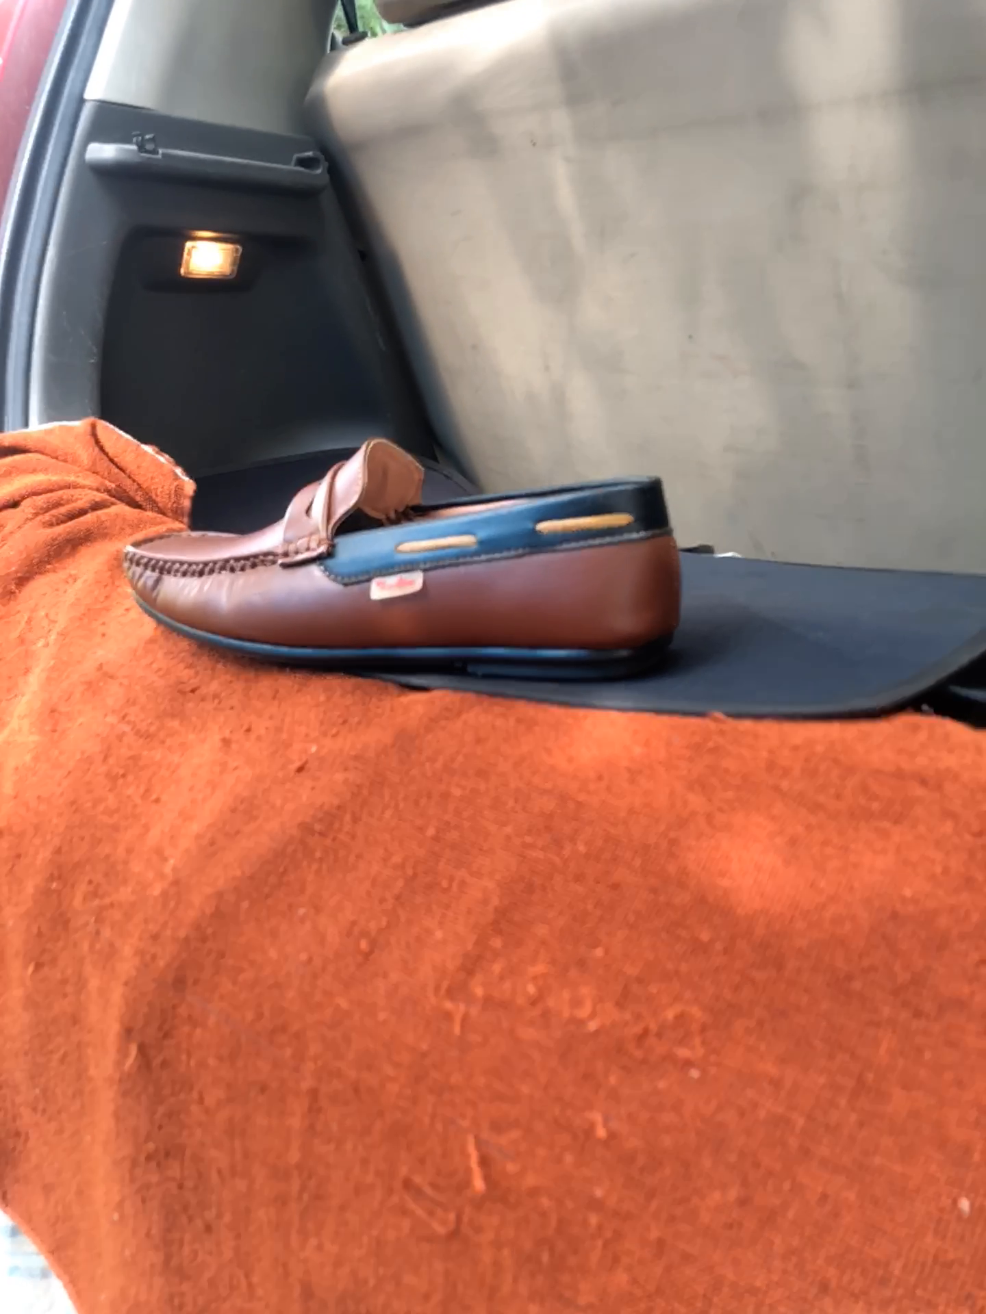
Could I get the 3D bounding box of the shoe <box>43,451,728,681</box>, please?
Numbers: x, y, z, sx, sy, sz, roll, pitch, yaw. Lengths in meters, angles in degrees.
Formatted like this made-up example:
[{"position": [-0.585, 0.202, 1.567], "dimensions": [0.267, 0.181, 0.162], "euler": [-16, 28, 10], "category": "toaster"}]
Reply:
[{"position": [-0.047, -0.042, 0.483], "dimensions": [0.280, 0.070, 0.111], "euler": [1, 17, 22], "category": "shoe"}]
